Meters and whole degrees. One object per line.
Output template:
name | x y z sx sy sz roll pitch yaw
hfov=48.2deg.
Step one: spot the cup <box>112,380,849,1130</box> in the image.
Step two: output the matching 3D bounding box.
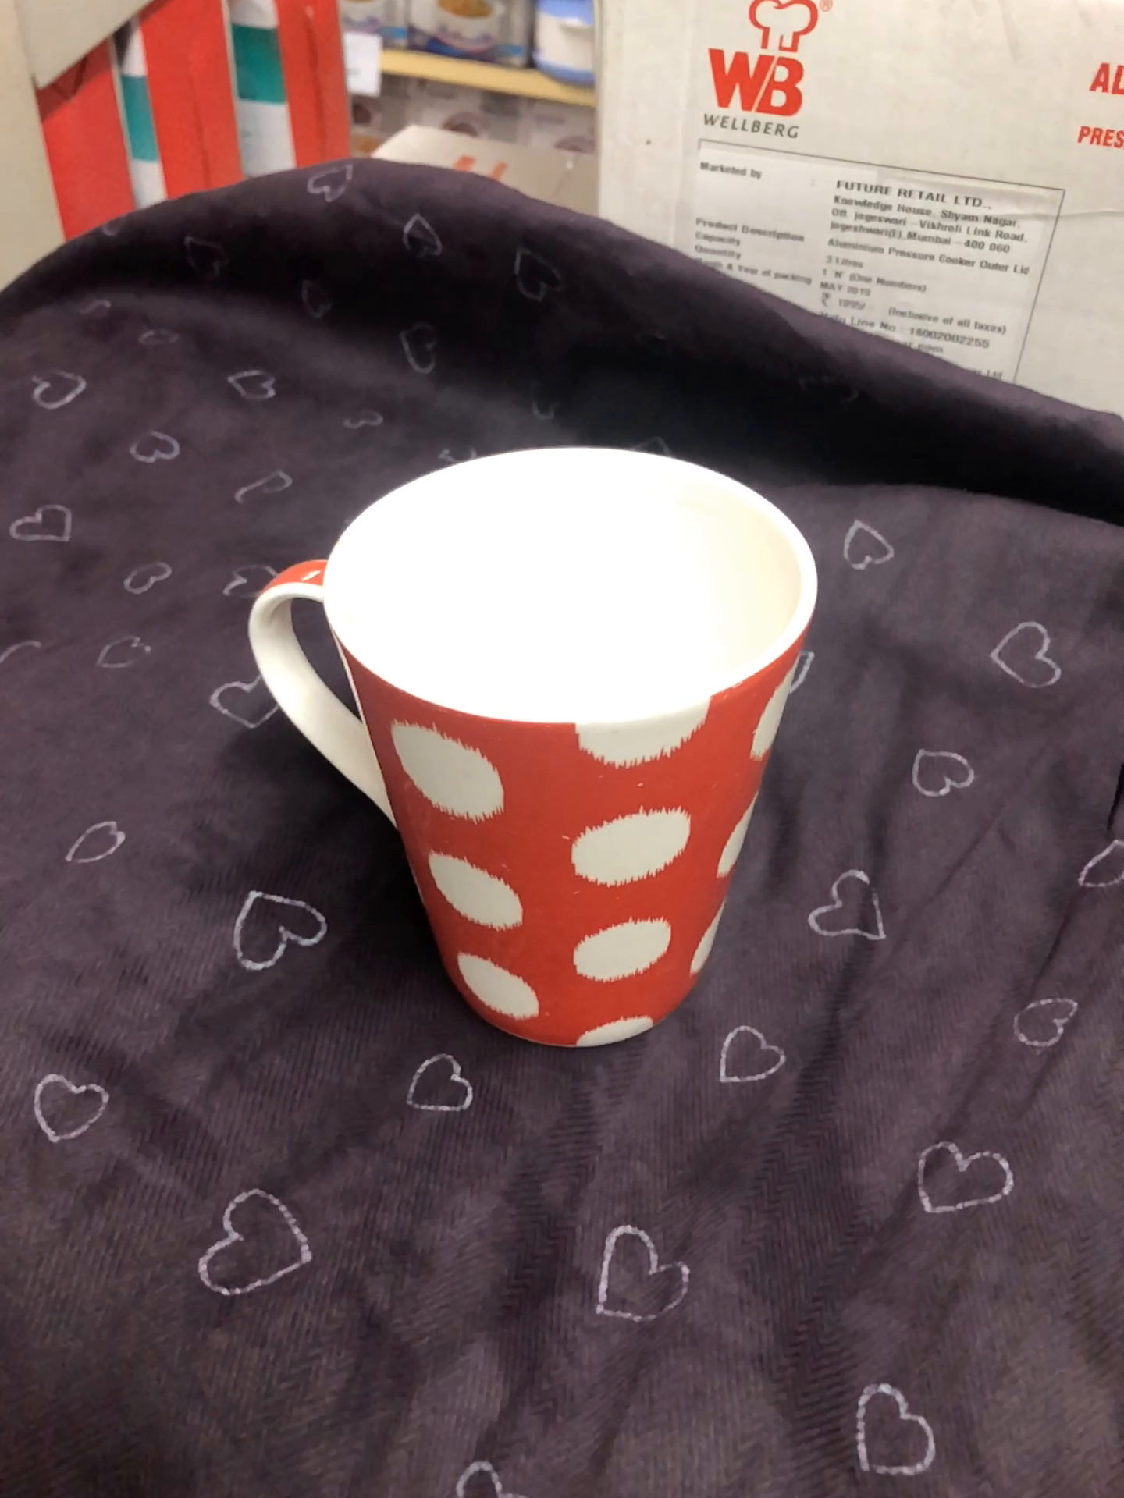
cup | -0.010 -0.001 0.259 0.110 0.099 0.091 12 42 9
